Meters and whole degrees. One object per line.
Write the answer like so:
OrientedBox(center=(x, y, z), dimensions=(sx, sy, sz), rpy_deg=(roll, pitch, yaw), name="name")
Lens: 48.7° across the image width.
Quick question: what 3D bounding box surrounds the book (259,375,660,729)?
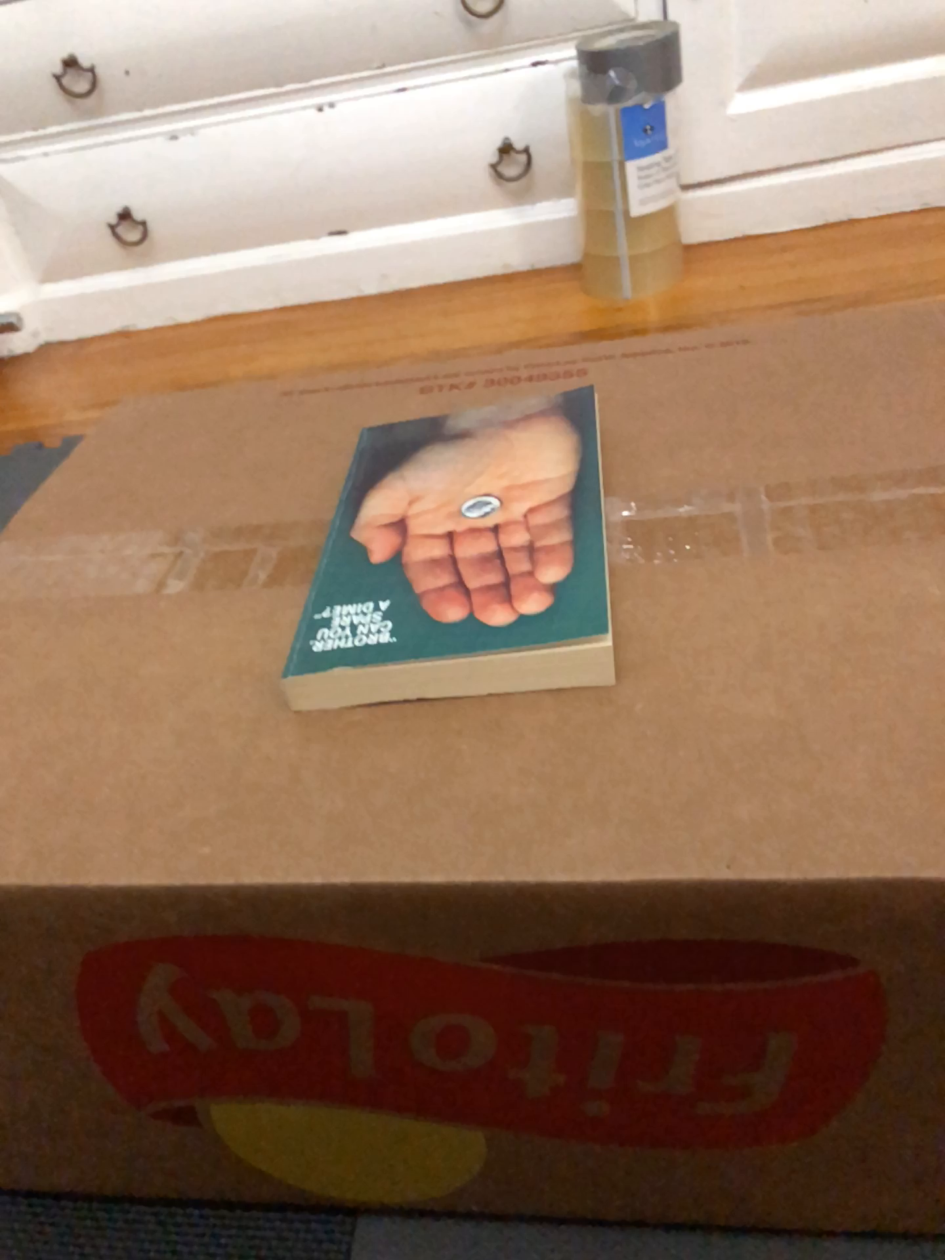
OrientedBox(center=(0.001, -0.038, 0.387), dimensions=(0.120, 0.020, 0.181), rpy_deg=(-6, 37, 9), name="book")
